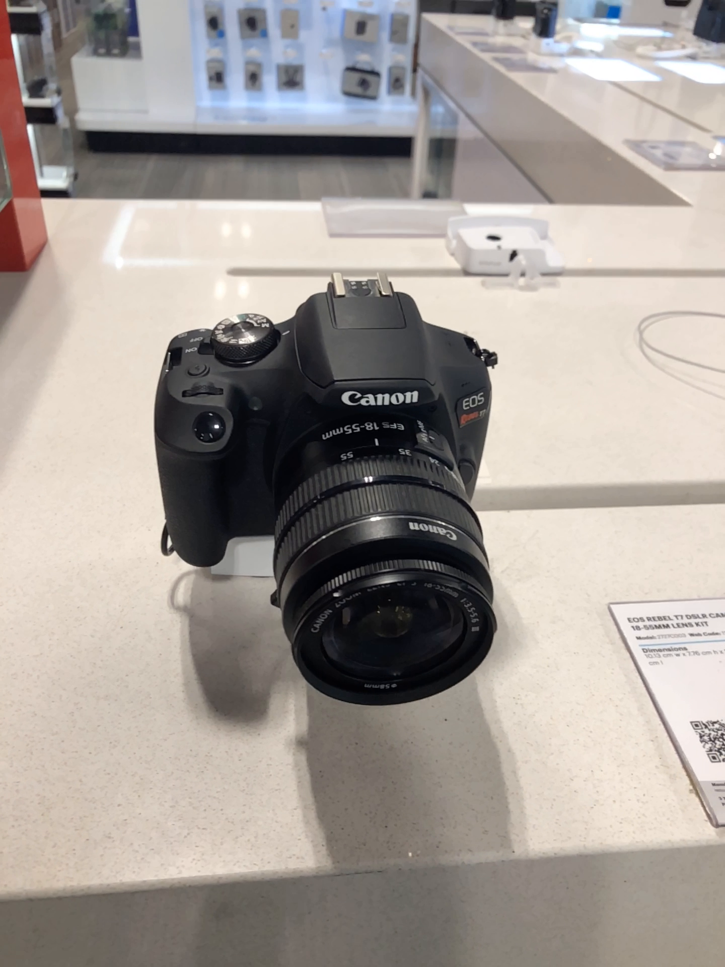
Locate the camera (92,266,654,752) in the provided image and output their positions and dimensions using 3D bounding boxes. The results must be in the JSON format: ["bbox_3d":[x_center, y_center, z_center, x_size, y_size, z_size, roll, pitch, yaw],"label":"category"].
[{"bbox_3d":[-0.007,-0.004,0.283,0.140,0.089,0.151,-3,36,-8],"label":"camera"}]
